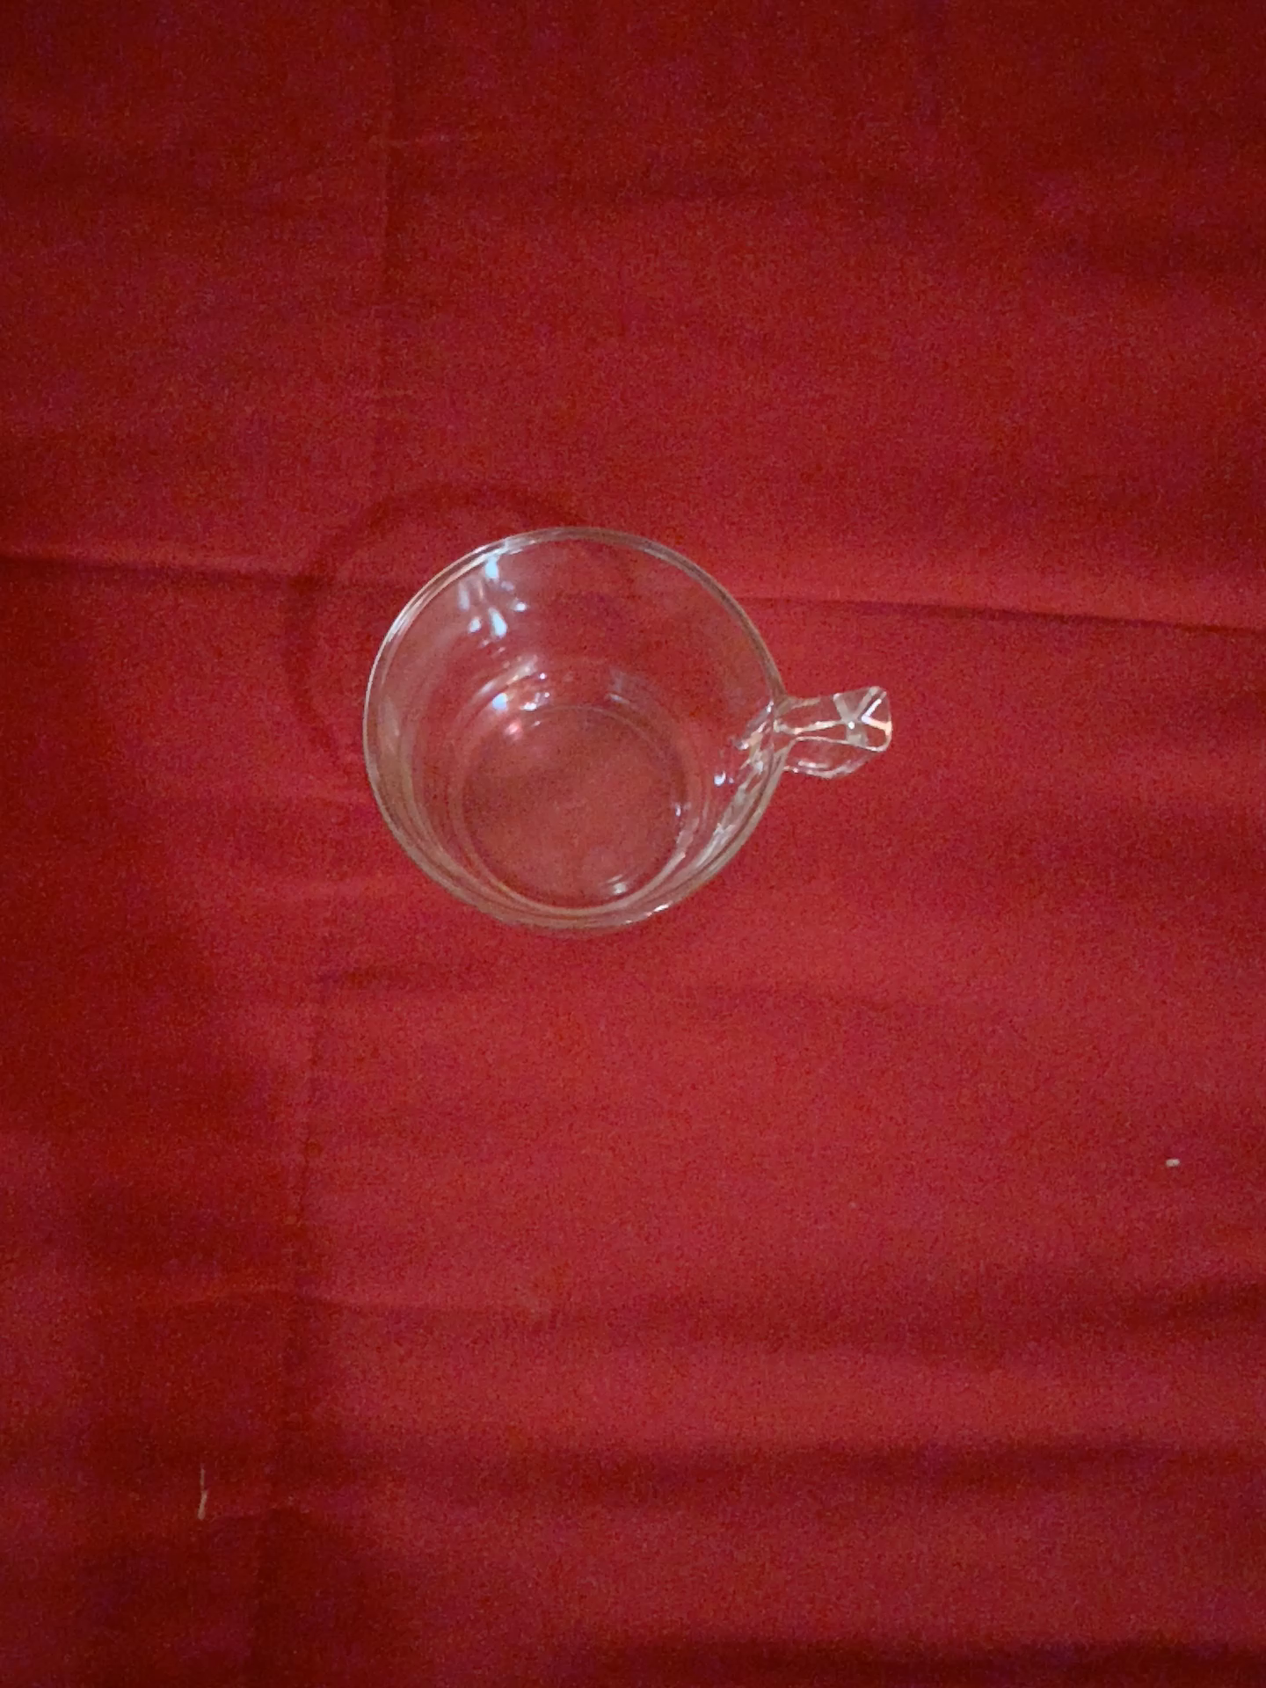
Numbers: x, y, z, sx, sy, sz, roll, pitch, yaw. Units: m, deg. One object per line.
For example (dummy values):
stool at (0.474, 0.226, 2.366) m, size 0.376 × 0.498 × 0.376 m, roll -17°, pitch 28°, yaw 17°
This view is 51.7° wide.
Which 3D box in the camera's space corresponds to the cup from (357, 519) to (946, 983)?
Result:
cup at (0.002, -0.017, 0.299) m, size 0.116 × 0.069 × 0.089 m, roll -2°, pitch 81°, yaw -2°
